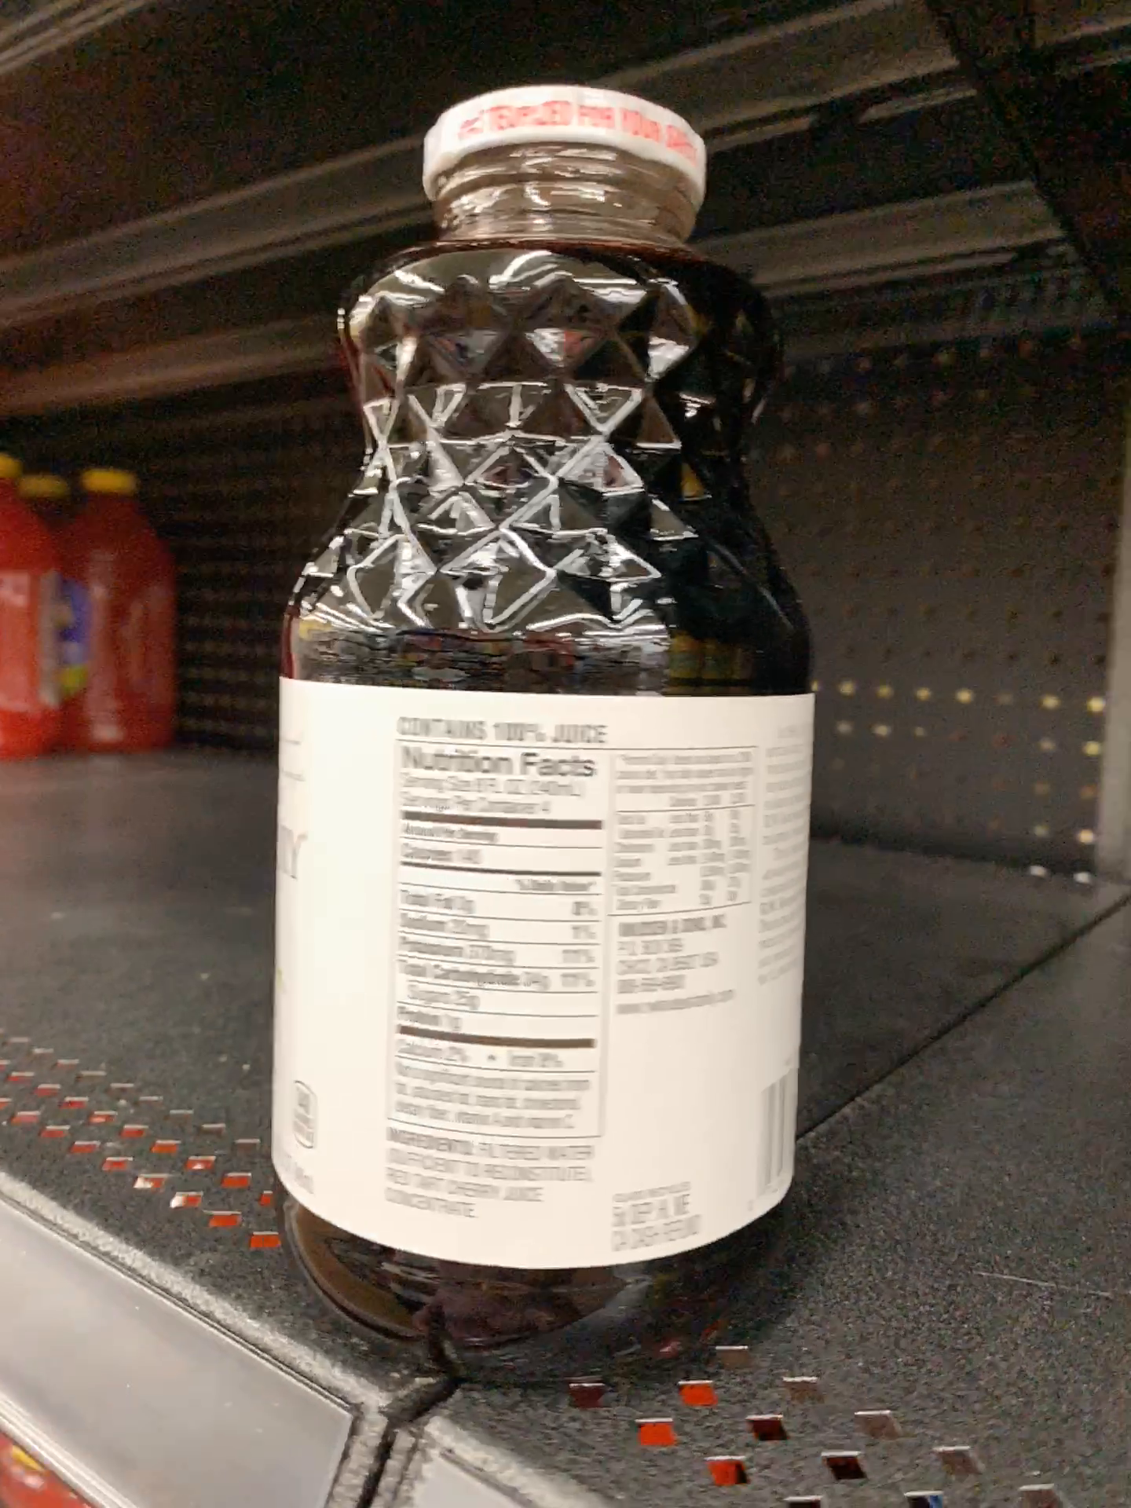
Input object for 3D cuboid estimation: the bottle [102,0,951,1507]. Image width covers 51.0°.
[{"bbox_3d":[-0.001,-0.006,0.209,0.110,0.200,0.100,2,6,0],"label":"bottle"}]
